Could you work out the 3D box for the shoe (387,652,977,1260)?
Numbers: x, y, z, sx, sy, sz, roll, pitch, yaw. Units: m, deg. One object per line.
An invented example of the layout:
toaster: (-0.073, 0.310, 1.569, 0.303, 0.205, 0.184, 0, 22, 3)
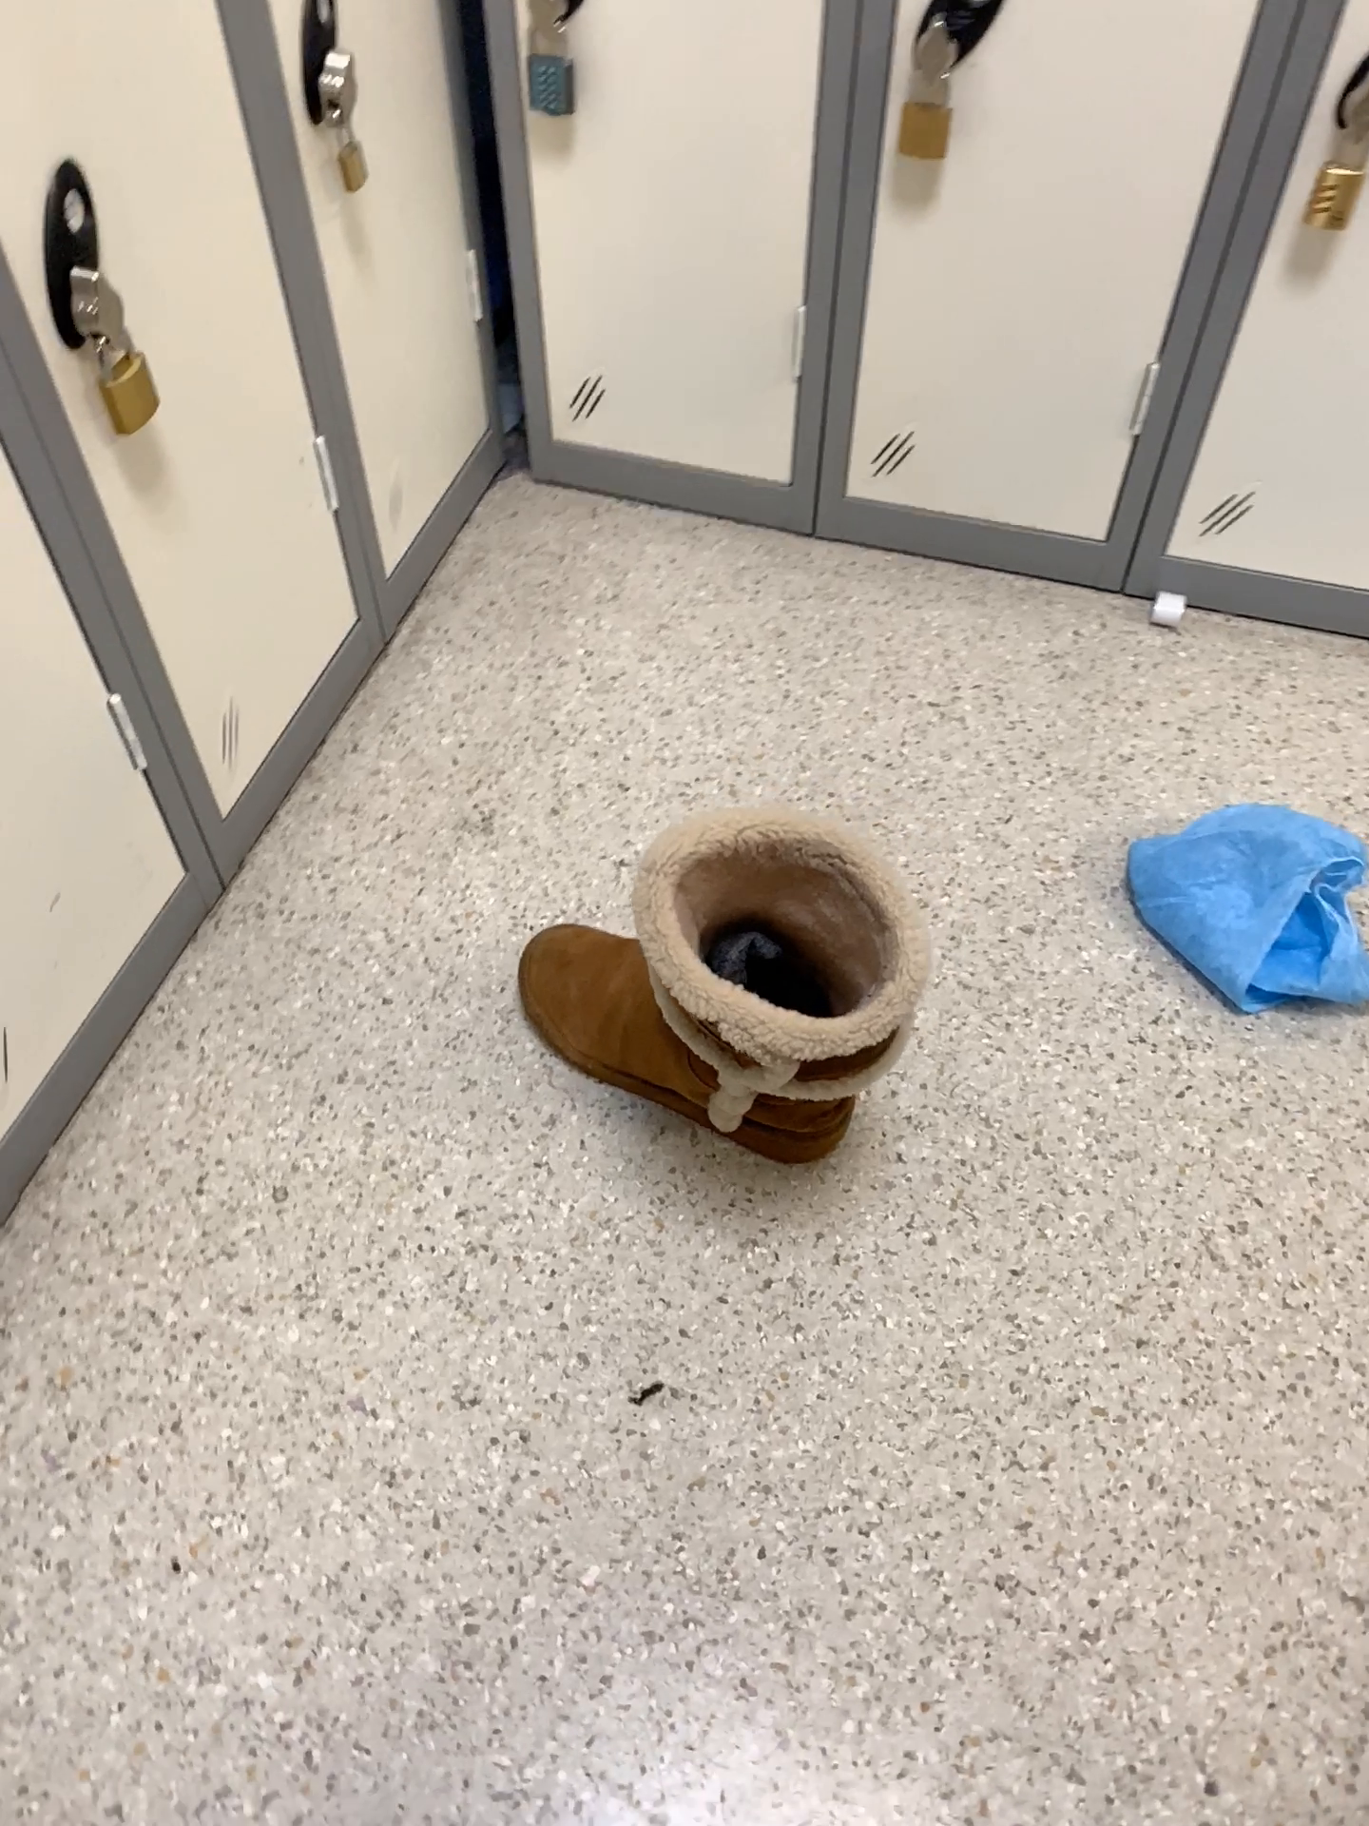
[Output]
shoe: (-0.005, 0.027, 0.899, 0.307, 0.243, 0.158, 29, 57, 21)
